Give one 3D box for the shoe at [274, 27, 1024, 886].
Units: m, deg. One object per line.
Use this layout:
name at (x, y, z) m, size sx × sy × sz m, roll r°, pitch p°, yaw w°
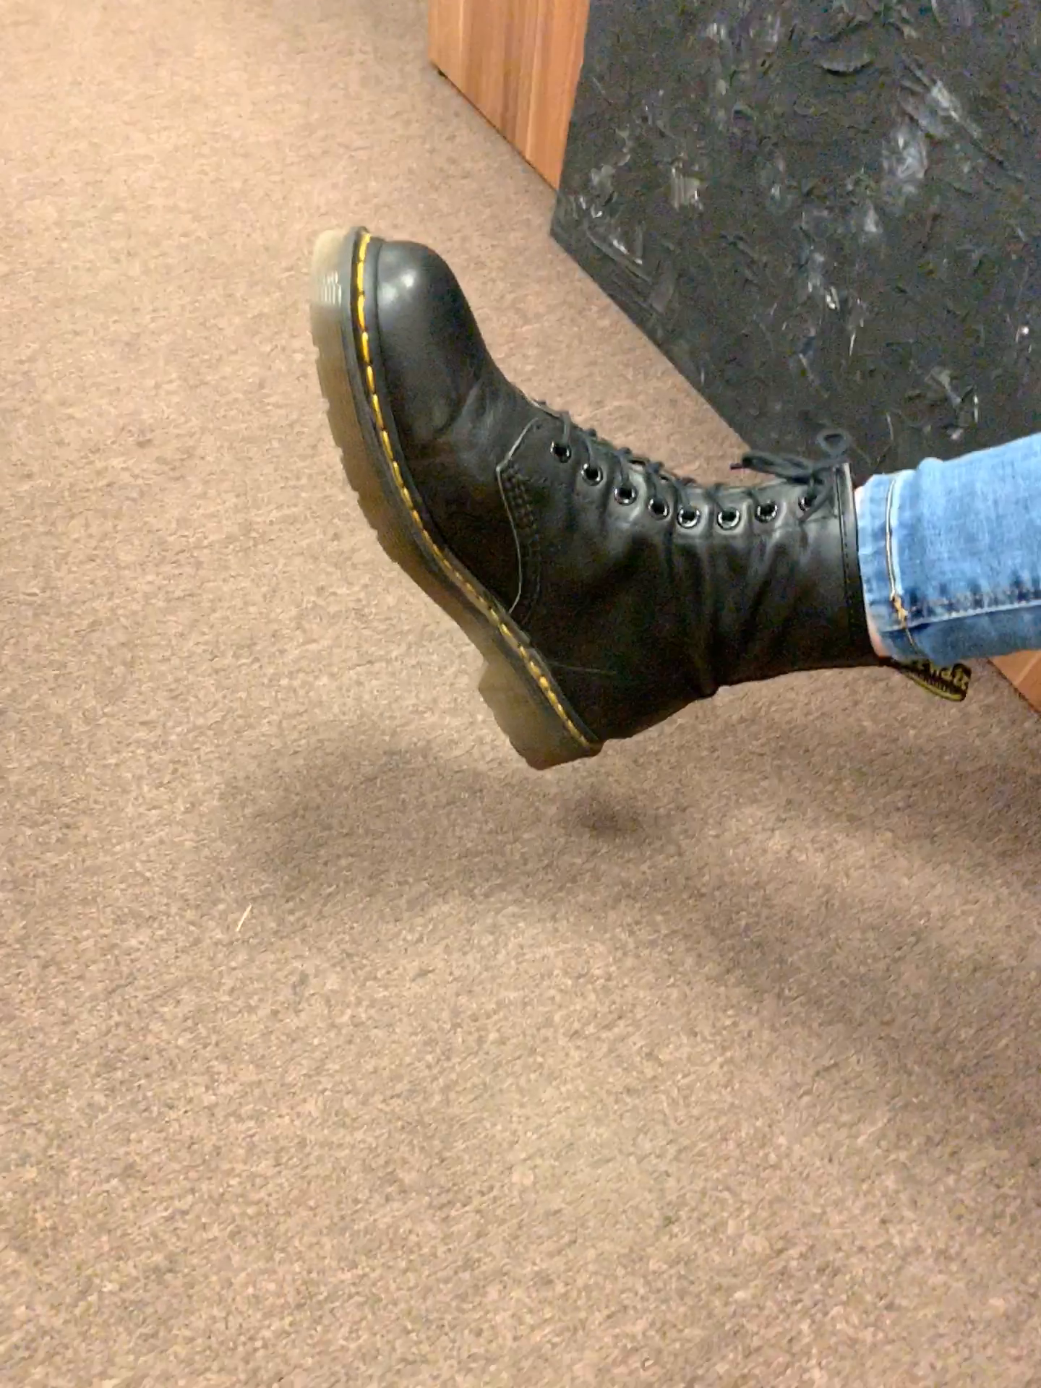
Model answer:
shoe at (0.096, -0.054, 0.497) m, size 0.230 × 0.369 × 0.120 m, roll -8°, pitch 52°, yaw 21°
